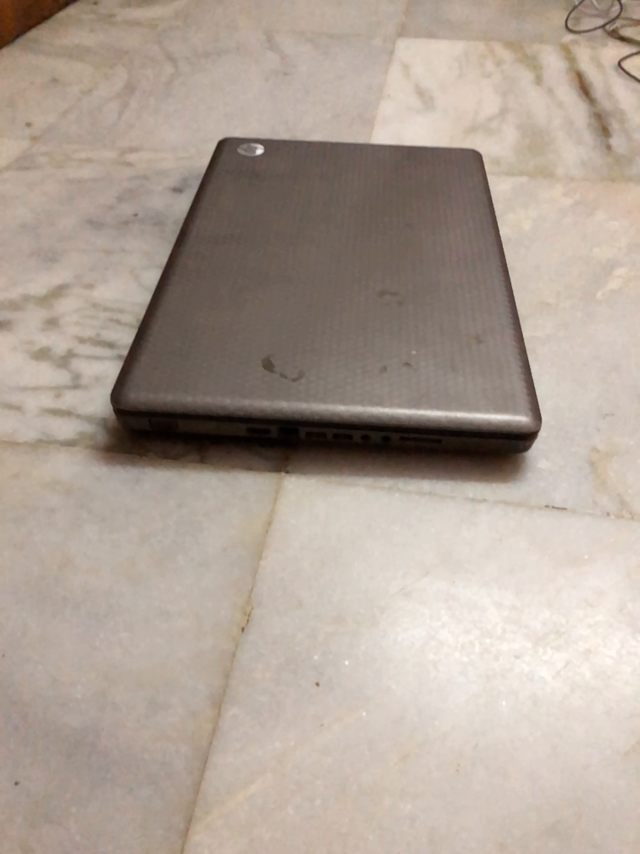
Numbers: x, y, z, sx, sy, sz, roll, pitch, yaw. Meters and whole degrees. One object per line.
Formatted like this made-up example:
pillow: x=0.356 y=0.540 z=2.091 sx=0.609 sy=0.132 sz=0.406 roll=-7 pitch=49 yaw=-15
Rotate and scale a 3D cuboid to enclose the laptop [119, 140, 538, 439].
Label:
laptop: x=0.017 y=-0.141 z=0.564 sx=0.252 sy=0.003 sz=0.396 roll=4 pitch=45 yaw=2
